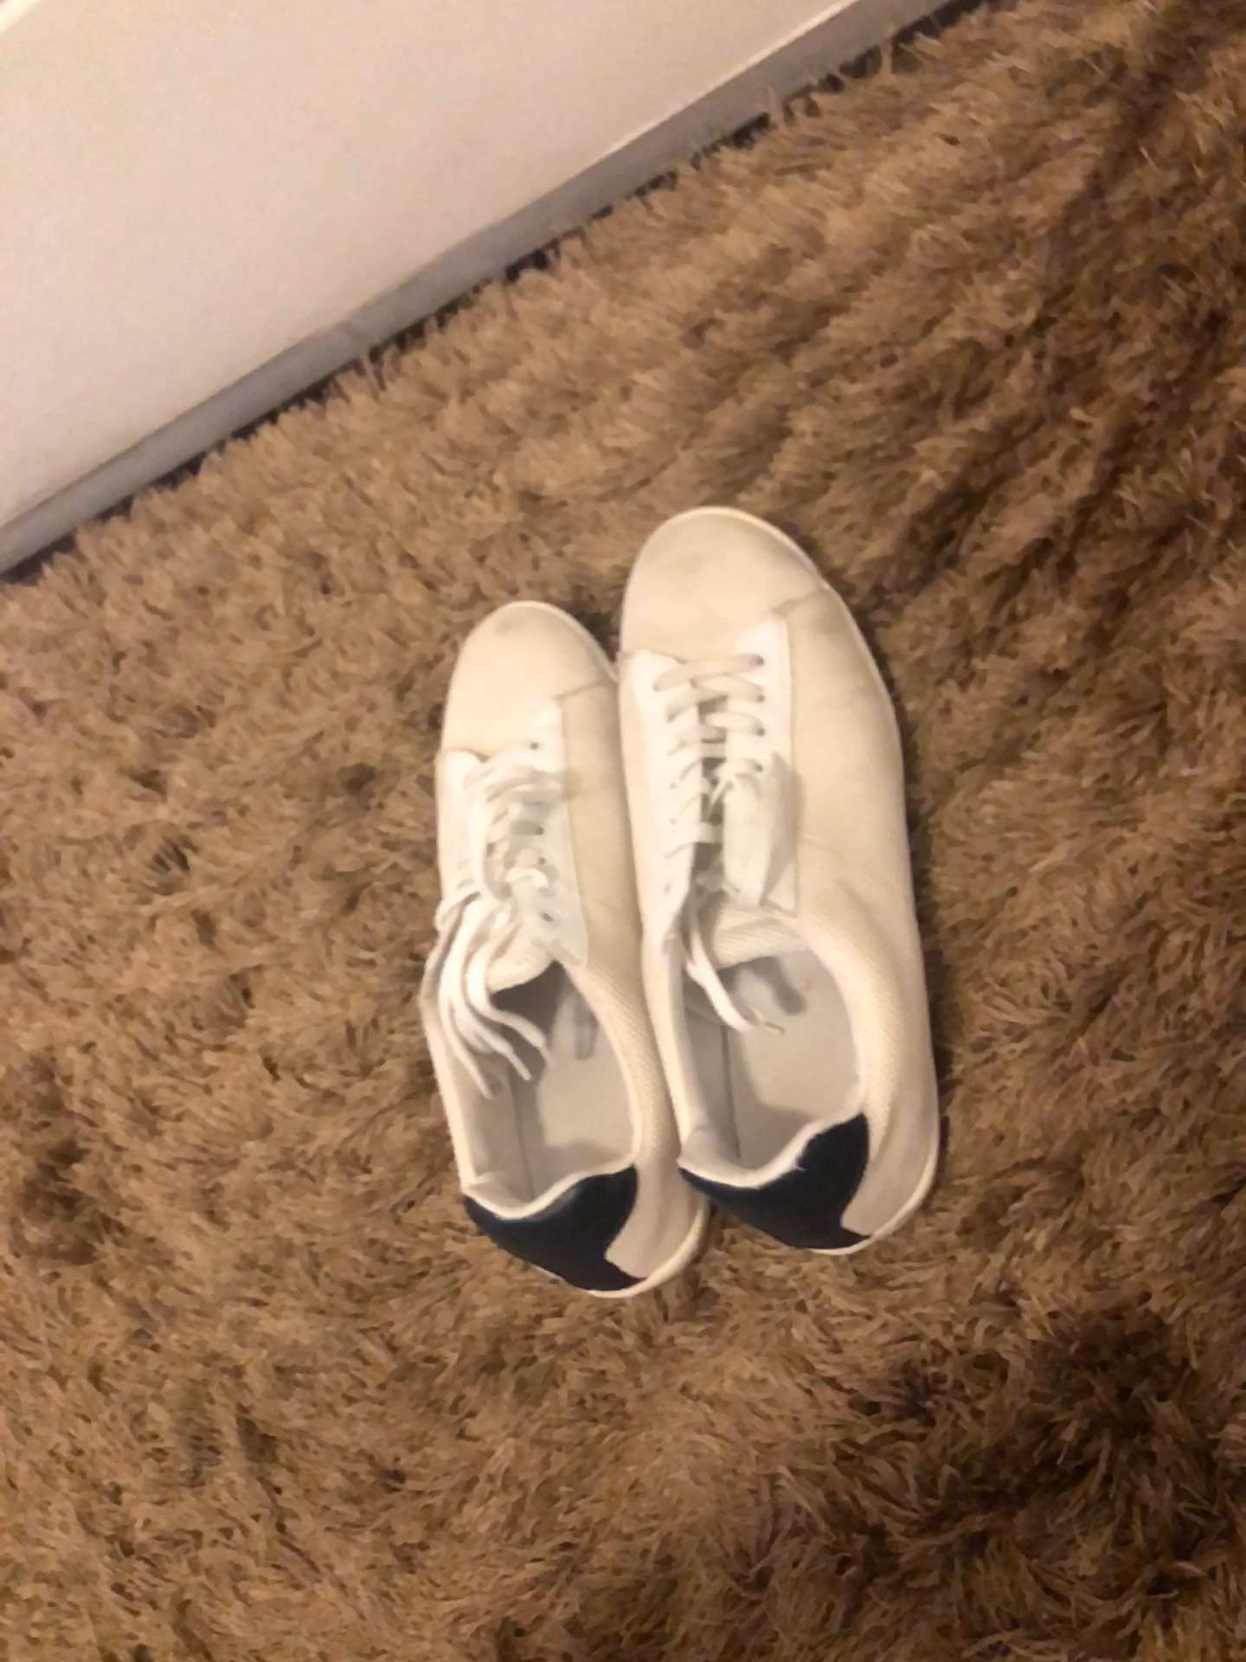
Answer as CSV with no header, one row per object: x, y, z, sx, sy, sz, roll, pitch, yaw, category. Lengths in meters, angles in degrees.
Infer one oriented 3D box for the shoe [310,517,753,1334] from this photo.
-0.039,0.034,0.504,0.101,0.079,0.264,-19,68,26,shoe

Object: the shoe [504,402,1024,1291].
0.041,0.007,0.463,0.105,0.079,0.264,-19,68,26,shoe
